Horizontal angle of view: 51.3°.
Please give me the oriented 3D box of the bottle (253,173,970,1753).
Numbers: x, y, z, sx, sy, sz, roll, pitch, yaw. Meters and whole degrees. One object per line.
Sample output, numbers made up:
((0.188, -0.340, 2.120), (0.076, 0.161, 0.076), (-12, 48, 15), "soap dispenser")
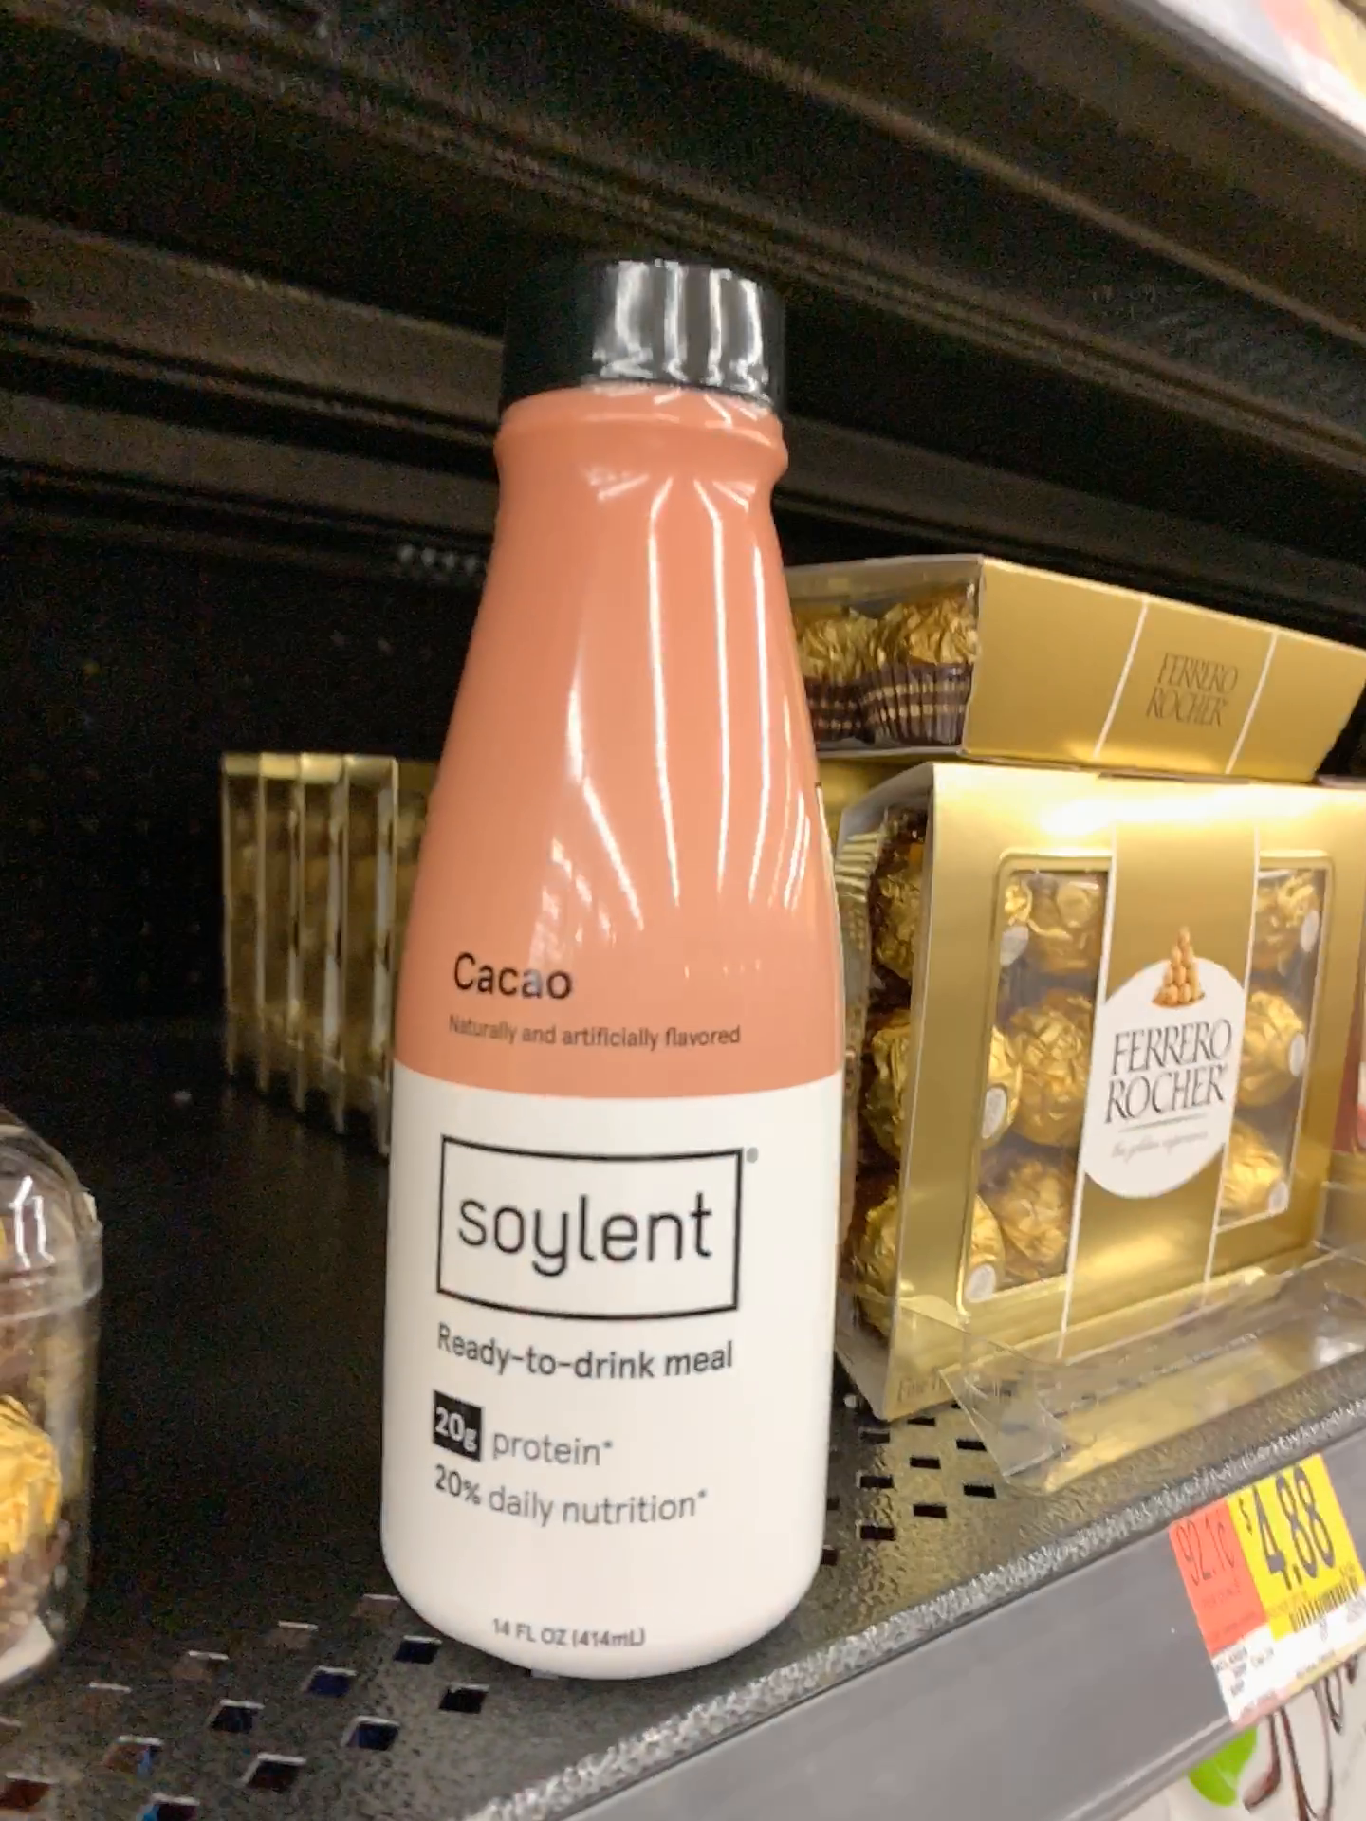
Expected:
((-0.007, 0.005, 0.210), (0.080, 0.190, 0.070), (4, 5, 10), "bottle")
